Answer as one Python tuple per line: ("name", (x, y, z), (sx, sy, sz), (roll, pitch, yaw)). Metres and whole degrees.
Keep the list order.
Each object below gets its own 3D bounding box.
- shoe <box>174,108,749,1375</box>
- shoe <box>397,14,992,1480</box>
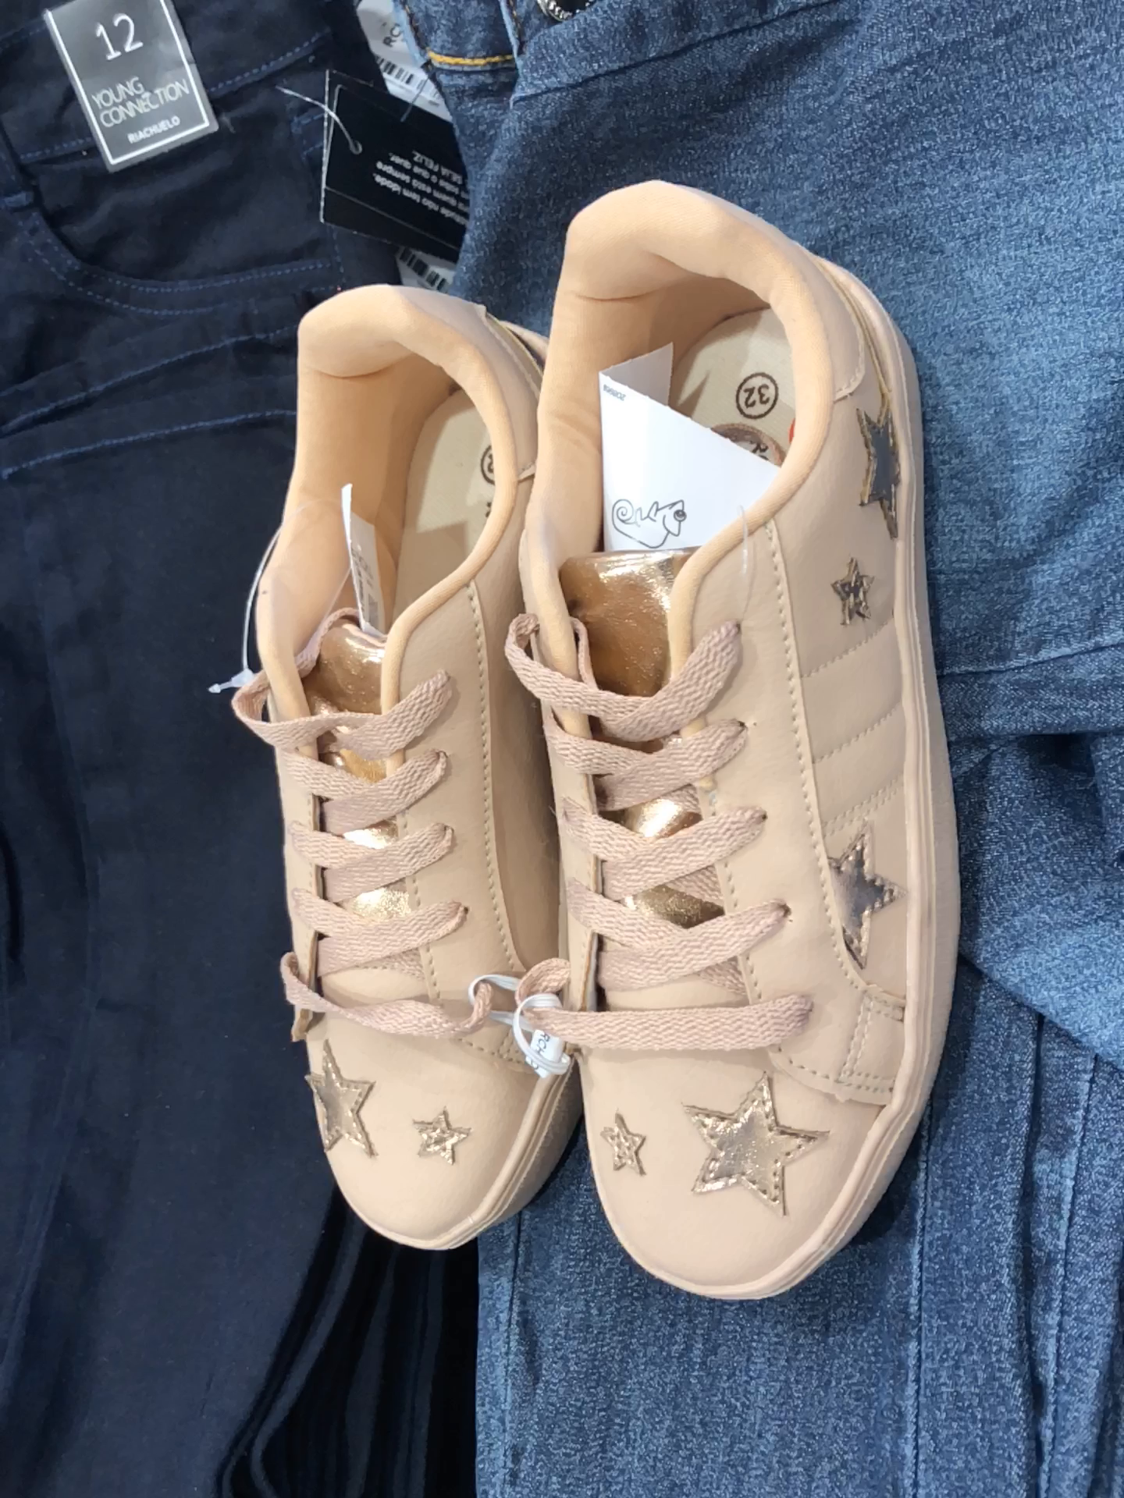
("shoe", (-0.023, -0.002, 0.309), (0.090, 0.090, 0.250), (4, 91, 36))
("shoe", (0.035, -0.002, 0.274), (0.090, 0.090, 0.250), (-3, 82, 35))
